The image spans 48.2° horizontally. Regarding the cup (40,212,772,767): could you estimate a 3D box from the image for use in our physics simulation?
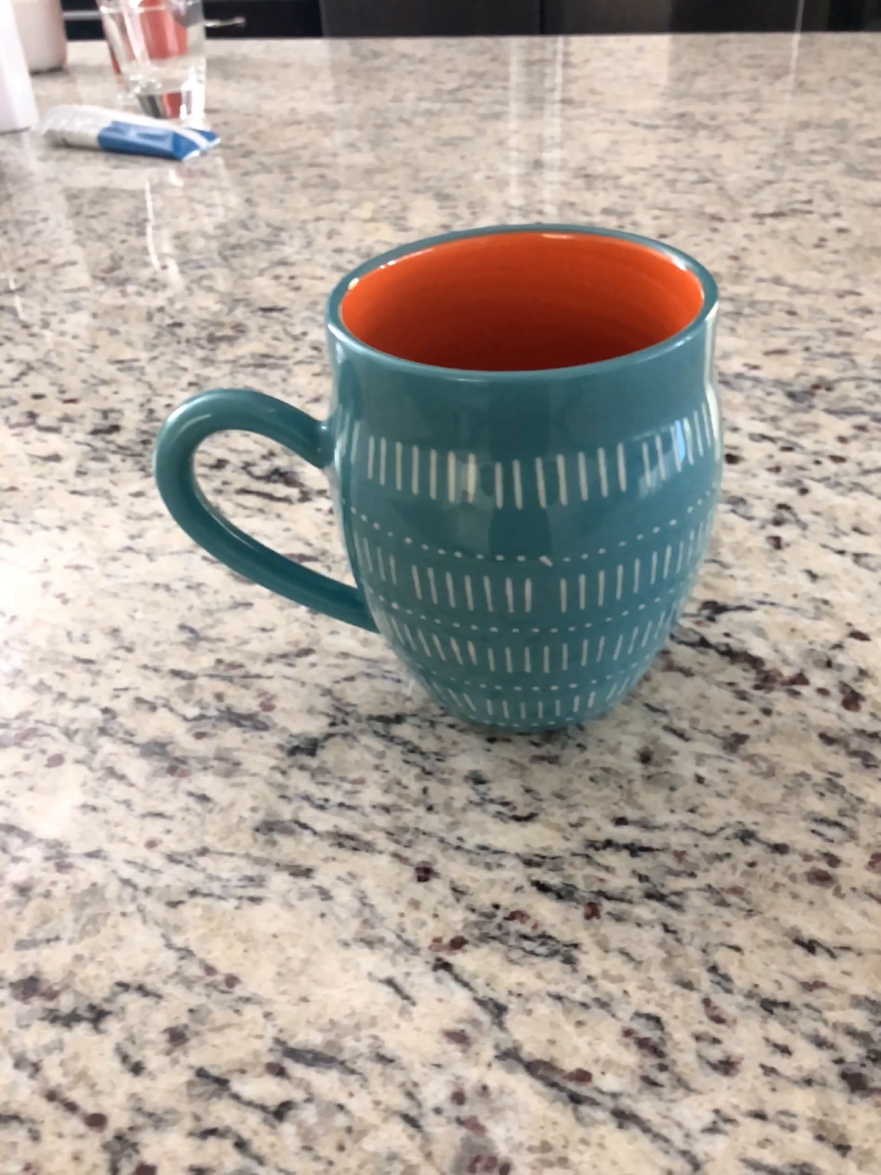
[{"bbox_3d":[0.002,-0.034,0.269,0.150,0.099,0.111,4,38,11],"label":"cup"}]
